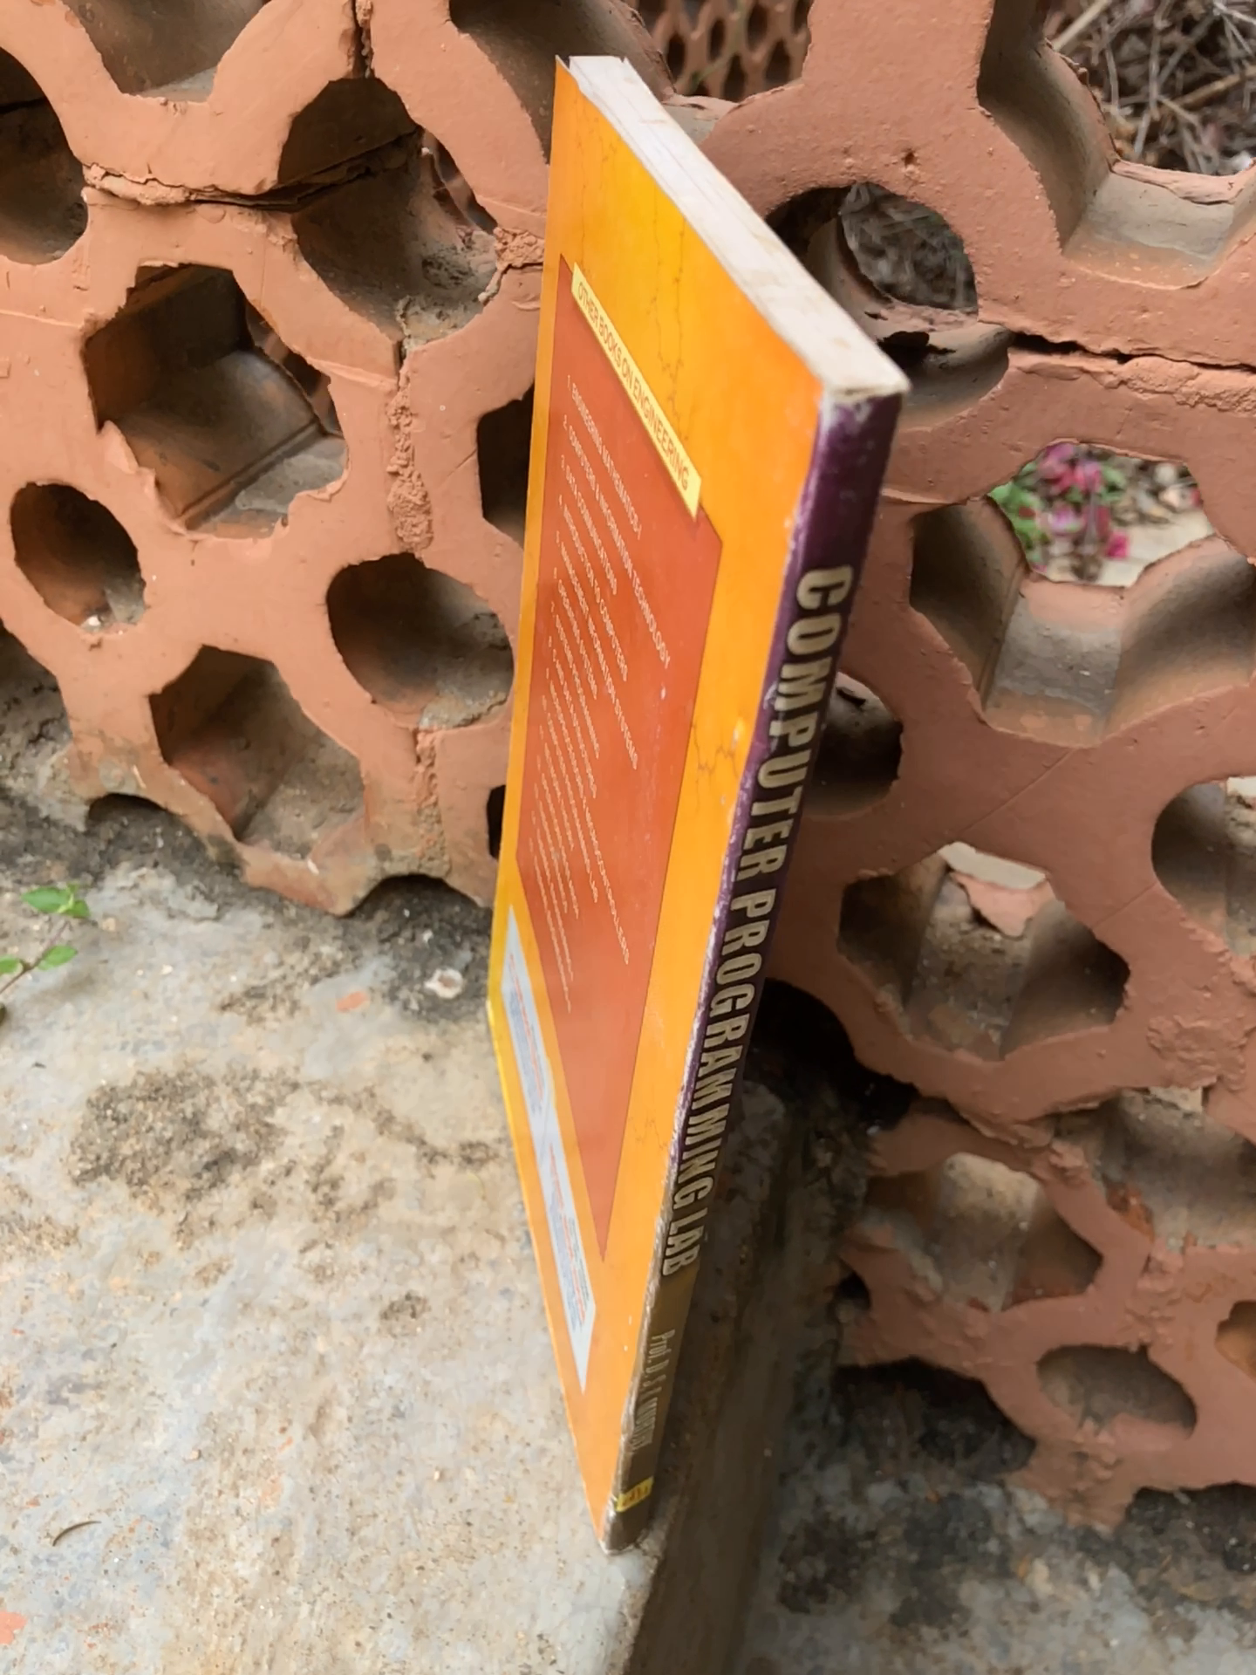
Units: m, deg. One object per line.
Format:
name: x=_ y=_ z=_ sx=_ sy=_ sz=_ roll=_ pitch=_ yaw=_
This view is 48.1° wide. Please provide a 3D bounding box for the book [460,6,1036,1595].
book: x=-0.005 y=-0.005 z=0.275 sx=0.020 sy=0.249 sz=0.181 roll=-1 pitch=38 yaw=-14
